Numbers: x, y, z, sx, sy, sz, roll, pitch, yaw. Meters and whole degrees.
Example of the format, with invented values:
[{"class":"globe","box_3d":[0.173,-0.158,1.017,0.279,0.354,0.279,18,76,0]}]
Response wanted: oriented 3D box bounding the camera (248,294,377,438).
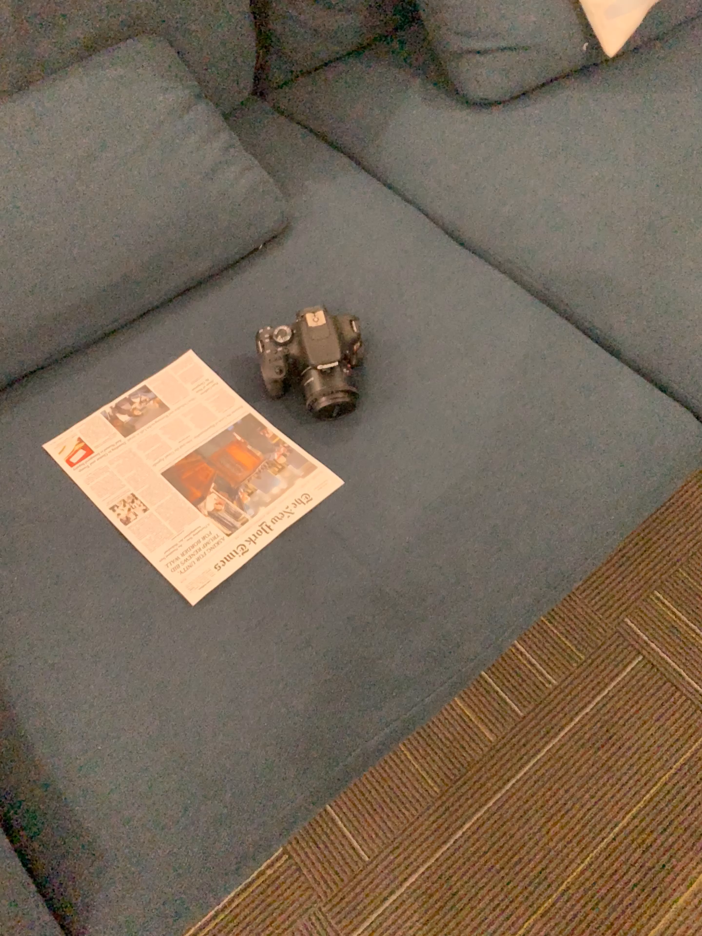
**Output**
[{"class":"camera","box_3d":[-0.046,-0.126,0.886,0.127,0.090,0.122,-14,59,-5]}]
